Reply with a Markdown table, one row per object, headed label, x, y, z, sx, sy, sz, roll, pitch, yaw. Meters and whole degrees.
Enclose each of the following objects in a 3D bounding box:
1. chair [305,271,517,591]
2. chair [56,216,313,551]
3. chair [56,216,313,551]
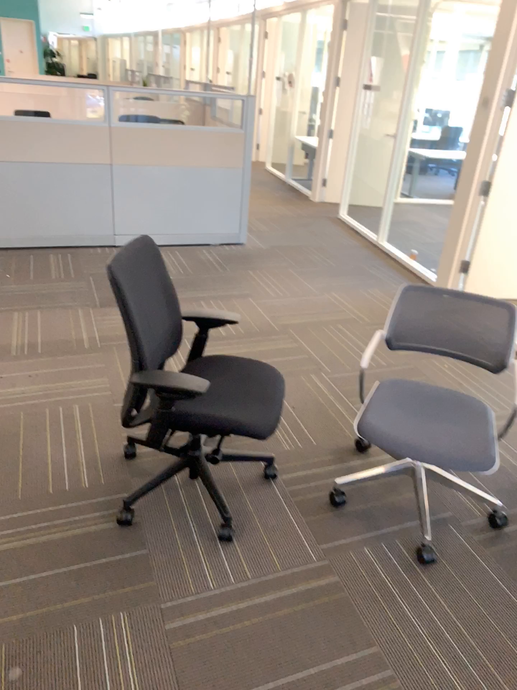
| label | x | y | z | sx | sy | sz | roll | pitch | yaw |
| --- | --- | --- | --- | --- | --- | --- | --- | --- | --- |
| chair | 0.654 | 0.259 | 2.030 | 0.731 | 0.775 | 0.754 | 11 | 27 | 12 |
| chair | -0.221 | 0.095 | 2.029 | 0.710 | 0.915 | 0.825 | 5 | 27 | 0 |
| chair | -0.221 | 0.095 | 2.029 | 0.710 | 0.915 | 0.825 | 5 | 27 | 0 |
